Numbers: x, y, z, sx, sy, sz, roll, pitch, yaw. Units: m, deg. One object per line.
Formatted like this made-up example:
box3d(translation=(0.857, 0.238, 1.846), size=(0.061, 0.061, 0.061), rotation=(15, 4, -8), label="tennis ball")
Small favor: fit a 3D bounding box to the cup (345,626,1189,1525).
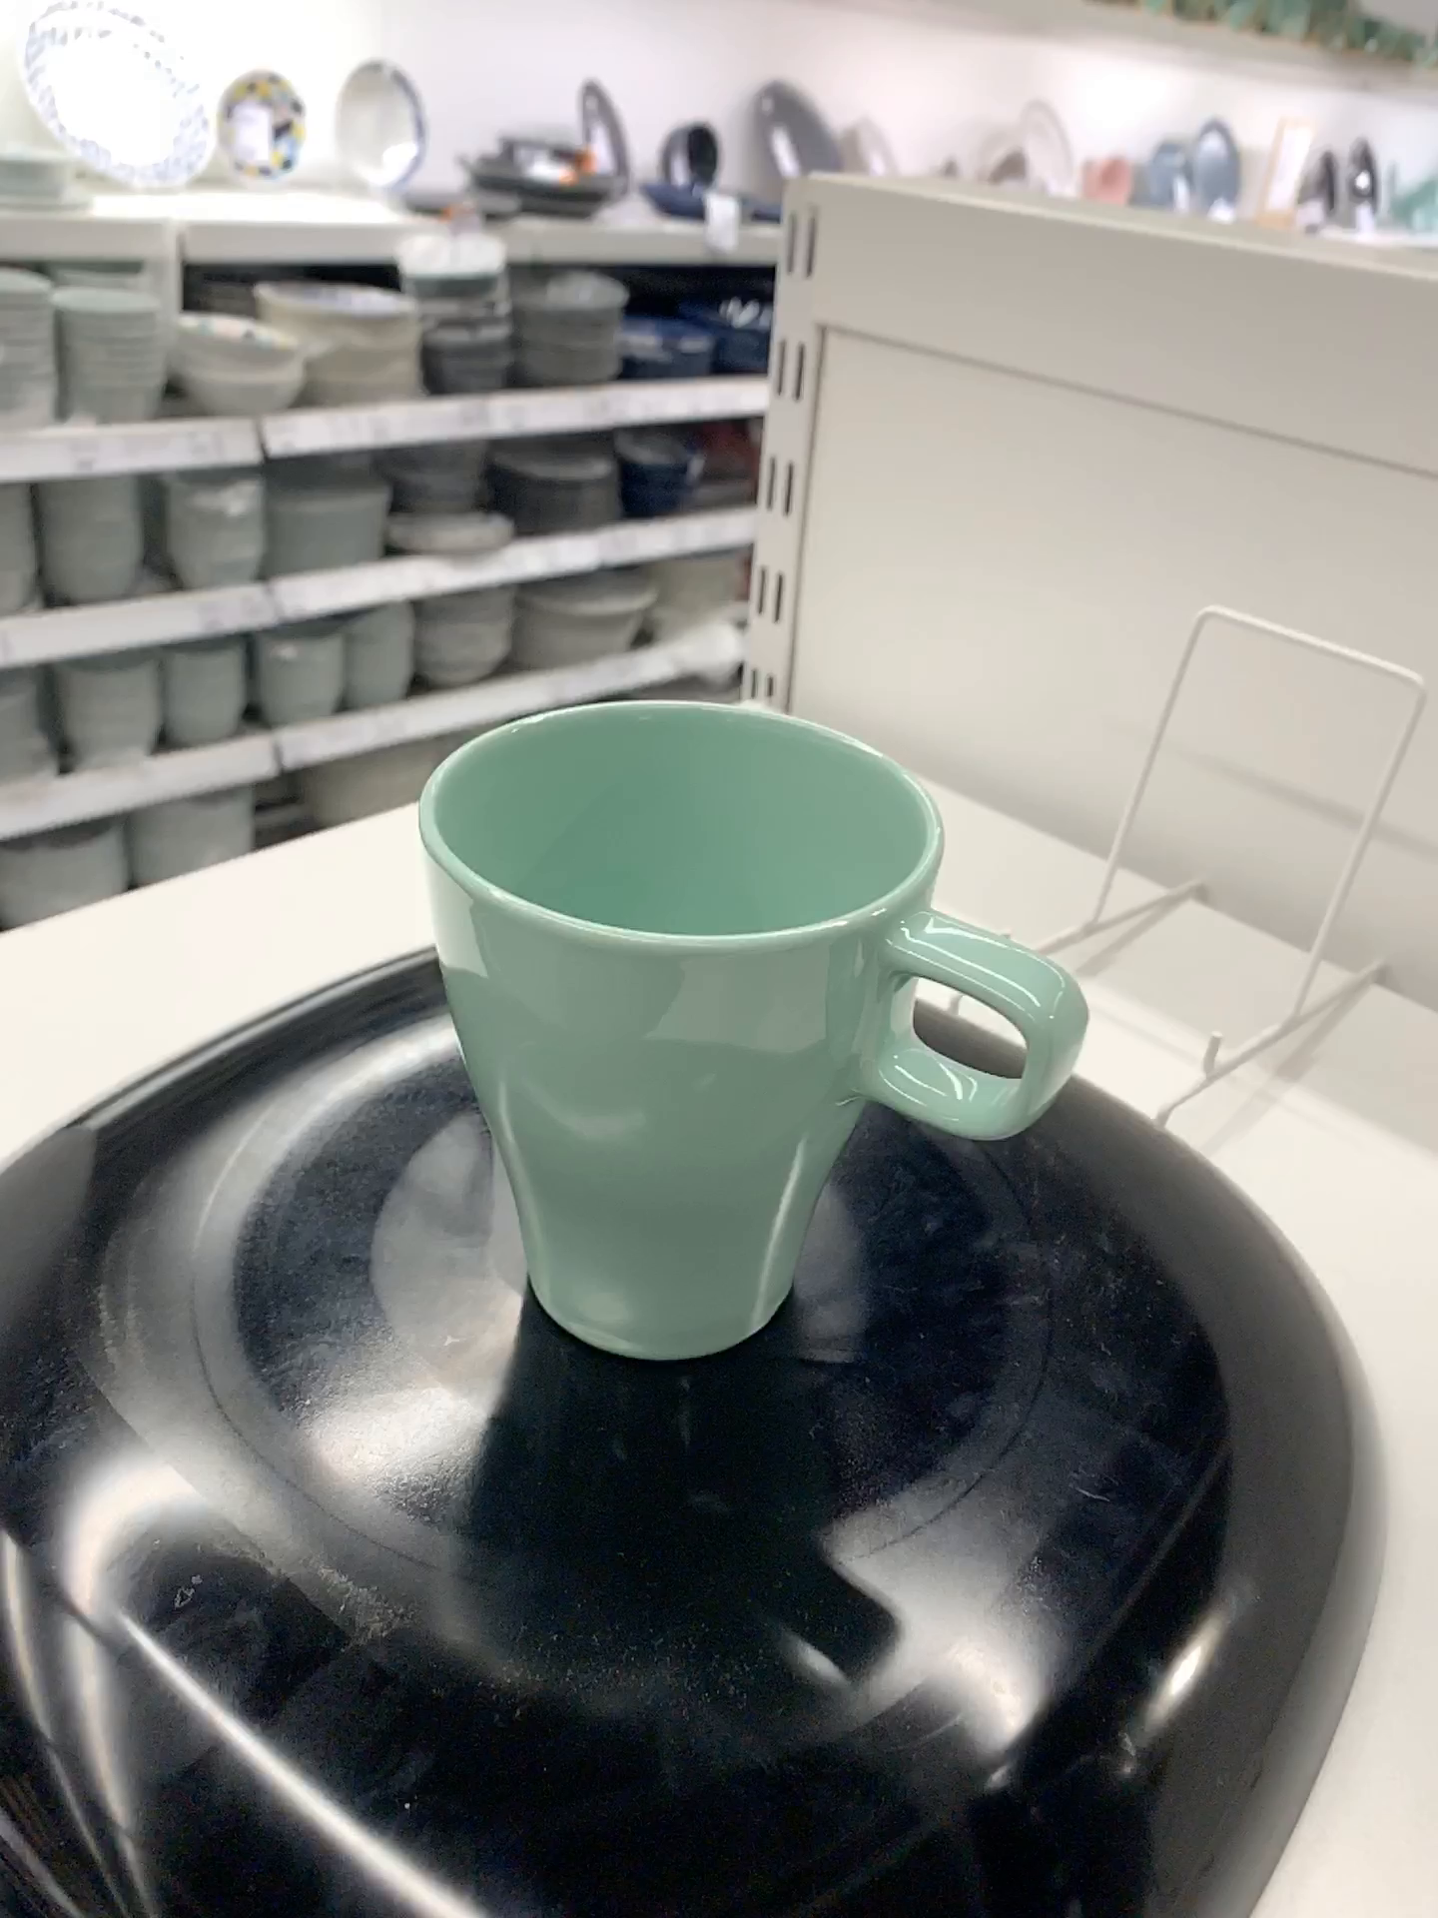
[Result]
box3d(translation=(0.007, 0.013, 0.259), size=(0.110, 0.100, 0.080), rotation=(18, 32, 20), label="cup")
